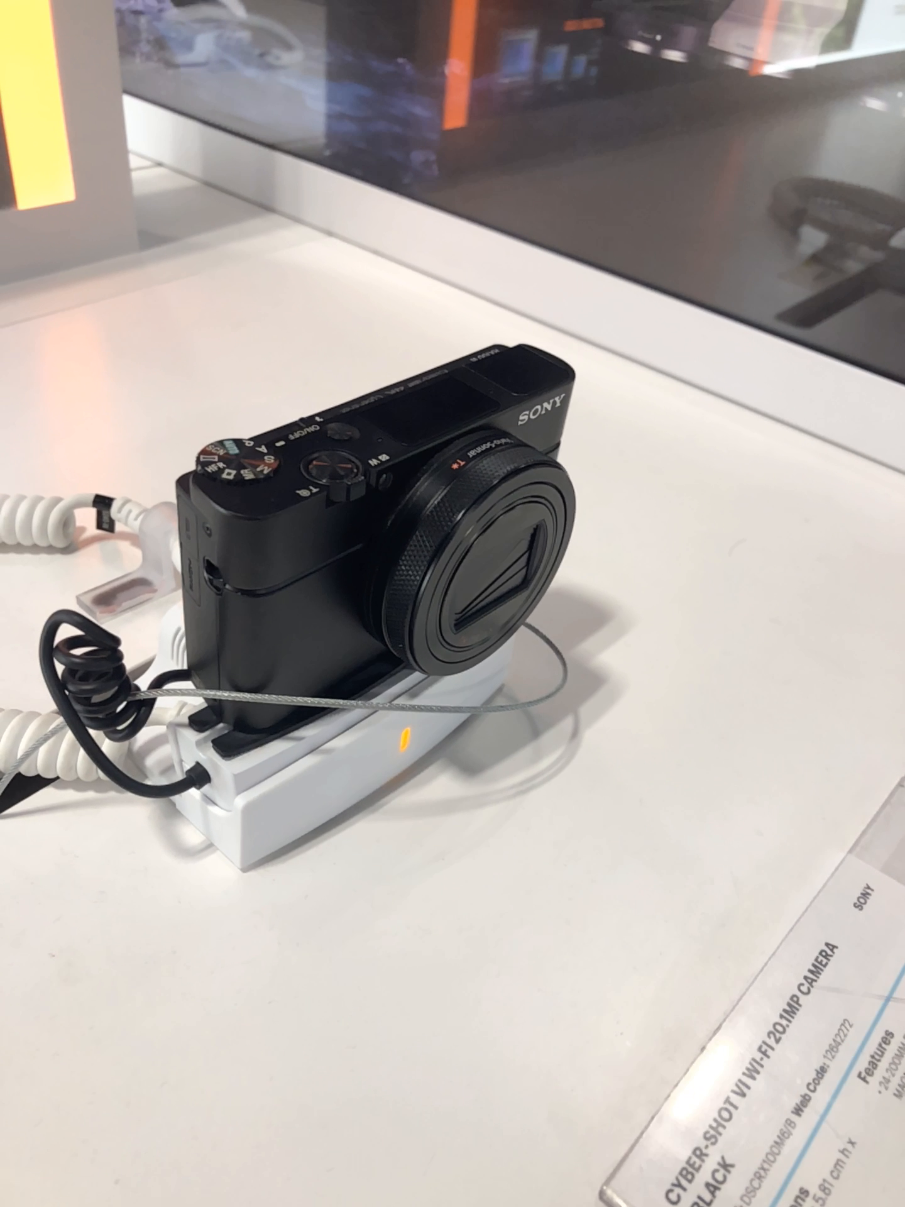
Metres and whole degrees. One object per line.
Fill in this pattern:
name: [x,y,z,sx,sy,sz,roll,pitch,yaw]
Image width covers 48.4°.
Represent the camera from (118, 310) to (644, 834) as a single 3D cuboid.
camera: [-0.011,-0.013,0.225,0.040,0.070,0.110,32,44,29]
